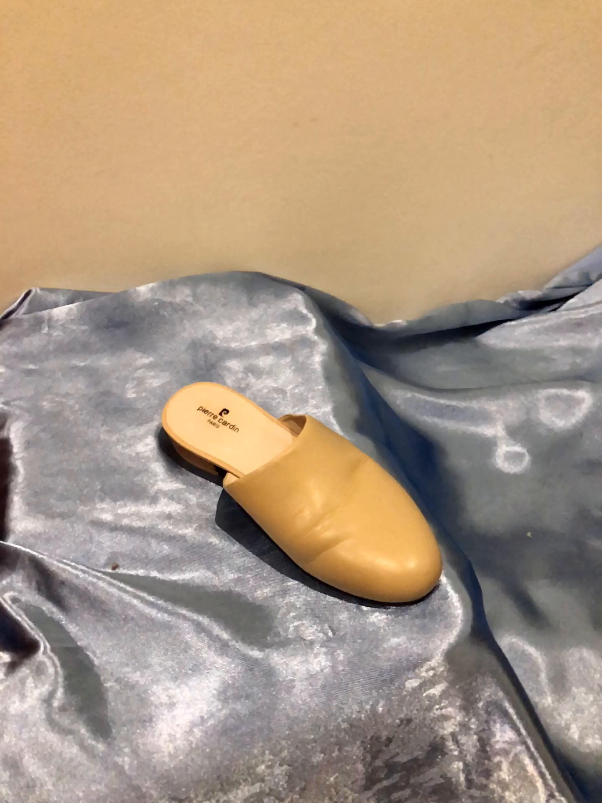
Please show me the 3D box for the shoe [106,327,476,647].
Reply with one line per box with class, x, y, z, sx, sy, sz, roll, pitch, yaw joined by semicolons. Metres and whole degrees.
shoe;-0.018;0.042;0.467;0.261;0.060;0.096;31;52;33
